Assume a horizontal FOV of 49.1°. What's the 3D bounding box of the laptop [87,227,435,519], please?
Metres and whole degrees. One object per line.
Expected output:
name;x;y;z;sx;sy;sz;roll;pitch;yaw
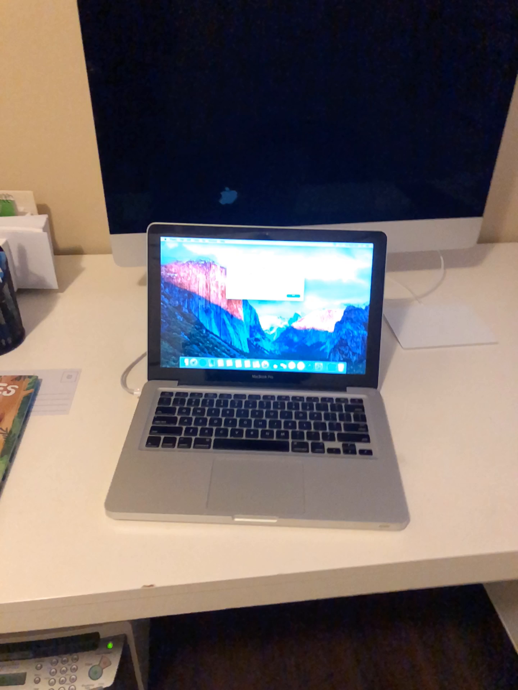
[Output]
laptop;0.004;0.013;0.674;0.302;0.187;0.314;2;35;1
